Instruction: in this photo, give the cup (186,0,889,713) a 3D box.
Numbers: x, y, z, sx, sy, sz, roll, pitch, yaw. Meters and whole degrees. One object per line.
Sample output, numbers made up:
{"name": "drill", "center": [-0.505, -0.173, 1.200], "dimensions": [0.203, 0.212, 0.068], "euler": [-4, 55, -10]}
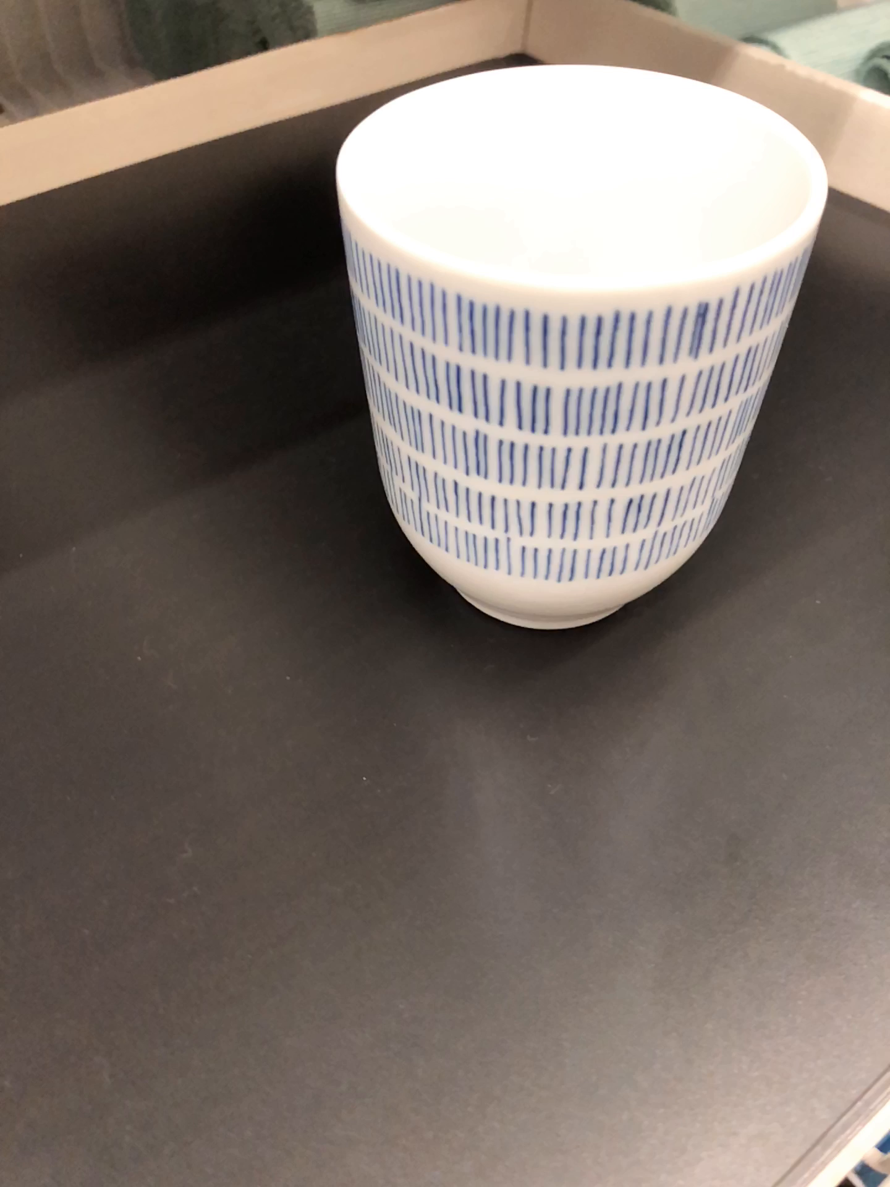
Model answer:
{"name": "cup", "center": [0.017, -0.044, 0.164], "dimensions": [0.080, 0.070, 0.070], "euler": [-30, 52, -23]}
